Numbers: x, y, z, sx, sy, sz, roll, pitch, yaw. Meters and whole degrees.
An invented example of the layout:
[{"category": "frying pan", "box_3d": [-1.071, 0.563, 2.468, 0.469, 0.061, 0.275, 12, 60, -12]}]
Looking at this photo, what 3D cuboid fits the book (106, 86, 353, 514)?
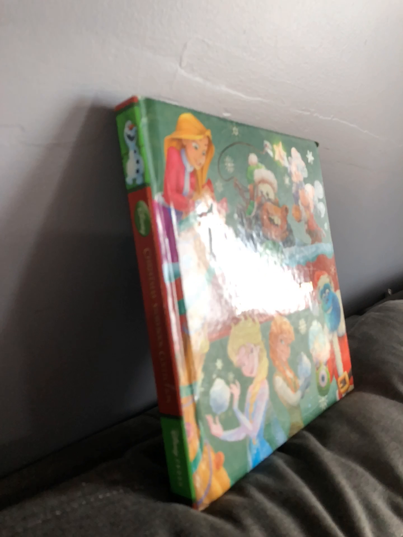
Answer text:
[{"category": "book", "box_3d": [0.044, 0.008, 0.341, 0.033, 0.238, 0.227, -7, 1, 40]}]
